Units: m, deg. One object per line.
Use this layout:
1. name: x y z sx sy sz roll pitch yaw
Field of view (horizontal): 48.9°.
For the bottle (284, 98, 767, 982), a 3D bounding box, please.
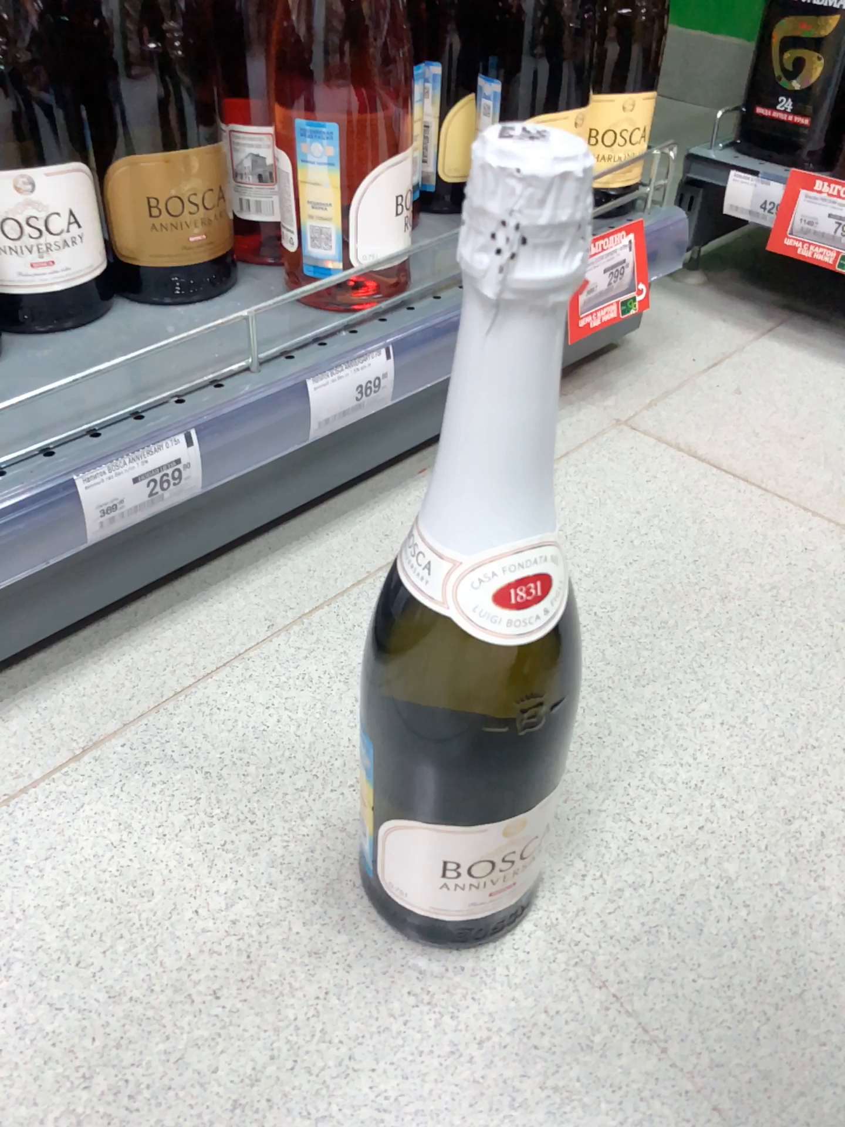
1. bottle: 0.016 0.014 0.334 0.090 0.308 0.090 2 39 -2
